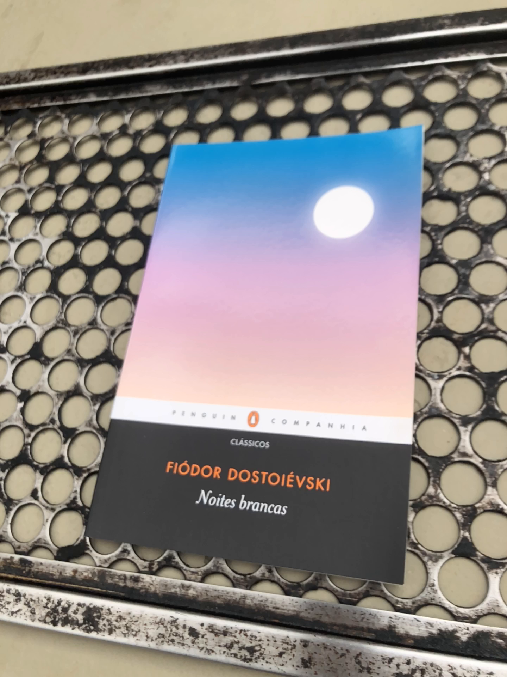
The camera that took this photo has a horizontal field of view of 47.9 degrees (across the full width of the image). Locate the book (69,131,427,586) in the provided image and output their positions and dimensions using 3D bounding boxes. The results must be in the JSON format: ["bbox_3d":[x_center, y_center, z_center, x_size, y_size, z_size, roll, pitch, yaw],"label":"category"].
[{"bbox_3d":[0.003,-0.006,0.250,0.133,0.010,0.191,2,69,17],"label":"book"}]
